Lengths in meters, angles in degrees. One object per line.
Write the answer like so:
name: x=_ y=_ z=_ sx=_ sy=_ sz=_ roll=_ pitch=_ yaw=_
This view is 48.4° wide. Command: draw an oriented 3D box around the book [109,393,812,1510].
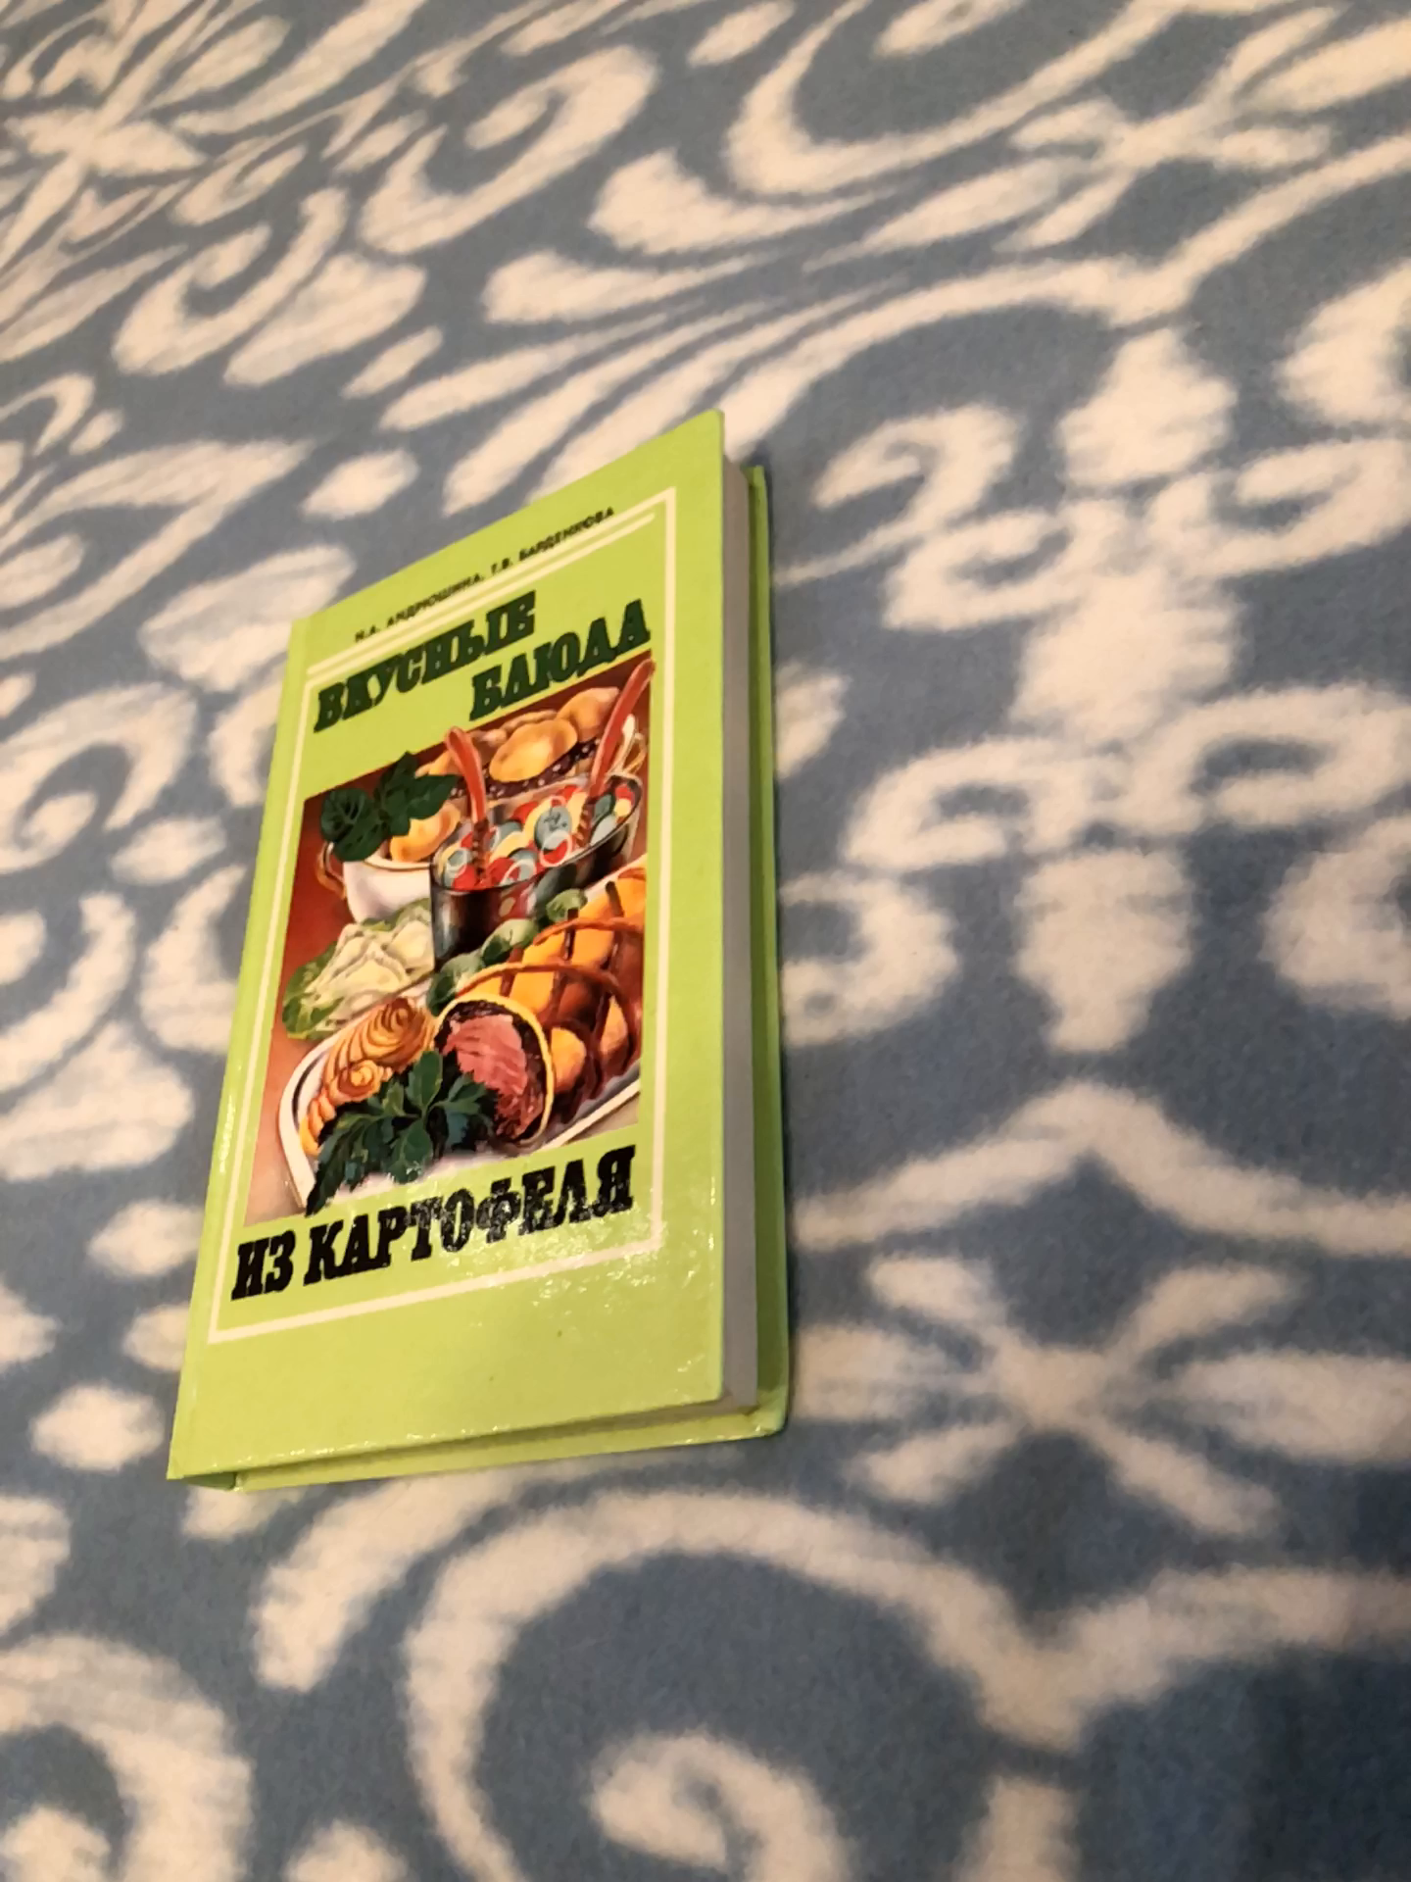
book: x=-0.047 y=0.001 z=0.313 sx=0.136 sy=0.025 sz=0.201 roll=-18 pitch=57 yaw=30
